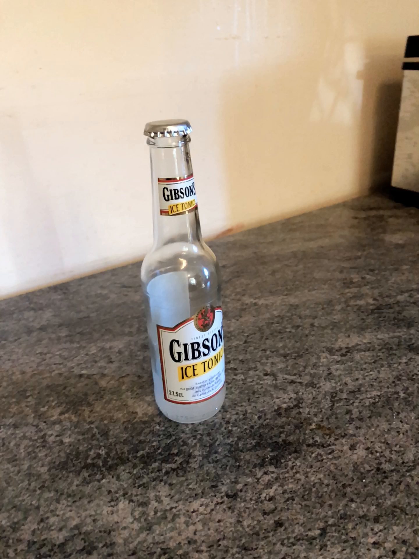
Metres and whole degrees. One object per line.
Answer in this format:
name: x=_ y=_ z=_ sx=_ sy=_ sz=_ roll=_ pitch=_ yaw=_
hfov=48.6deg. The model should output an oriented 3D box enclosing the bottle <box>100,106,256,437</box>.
bottle: x=-0.015 y=-0.005 z=0.322 sx=0.070 sy=0.209 sz=0.060 roll=-20 pitch=30 yaw=-32
